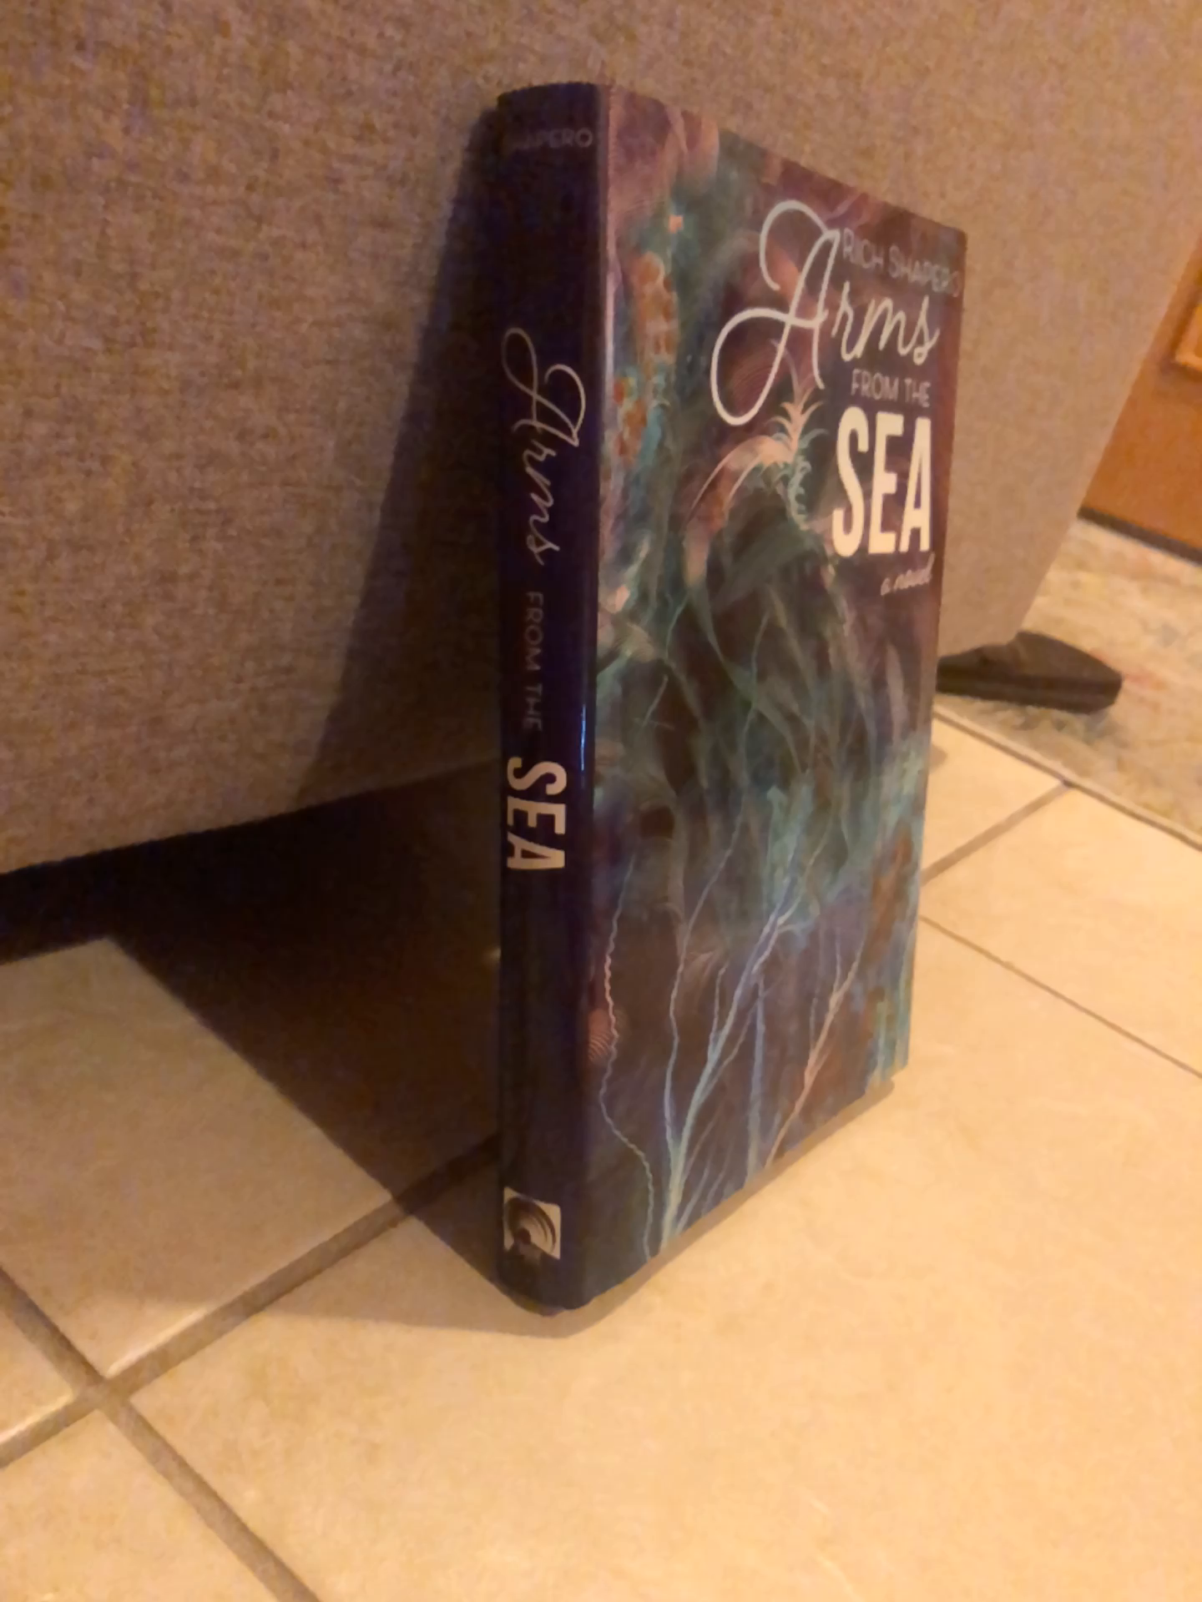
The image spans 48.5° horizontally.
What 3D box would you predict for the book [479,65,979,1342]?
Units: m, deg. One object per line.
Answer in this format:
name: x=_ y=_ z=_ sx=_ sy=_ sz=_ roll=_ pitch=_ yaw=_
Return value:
book: x=0.036 y=-0.022 z=0.307 sx=0.030 sy=0.228 sz=0.157 roll=9 pitch=15 yaw=35
